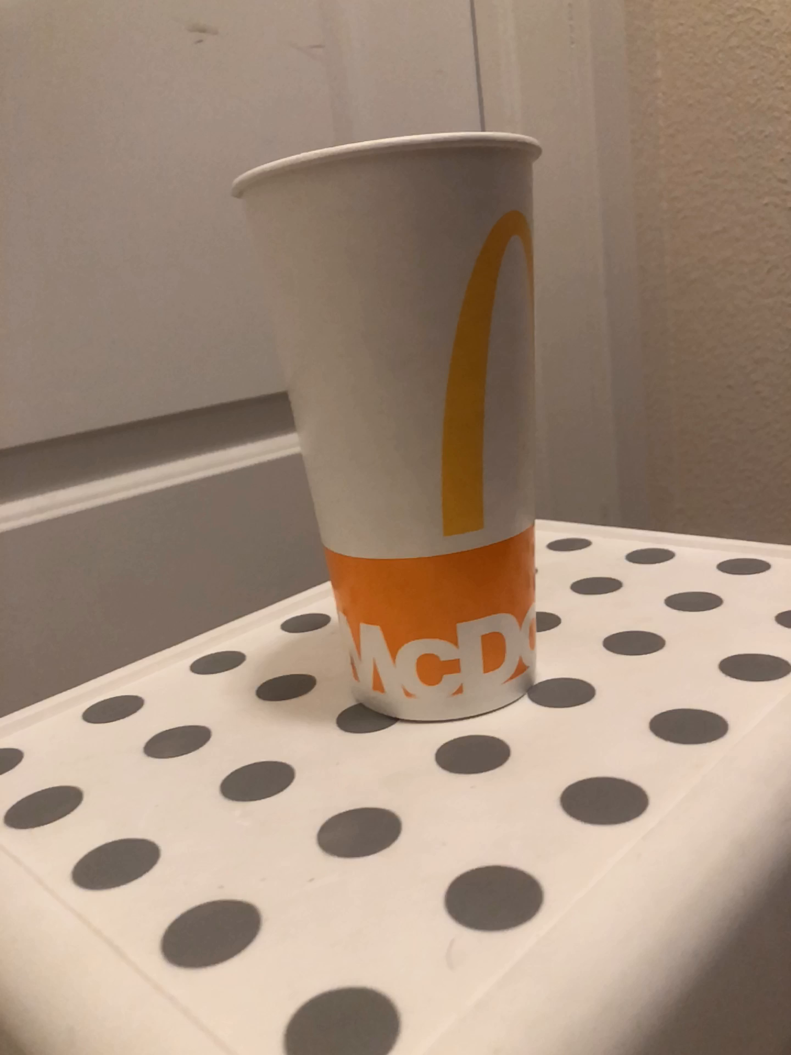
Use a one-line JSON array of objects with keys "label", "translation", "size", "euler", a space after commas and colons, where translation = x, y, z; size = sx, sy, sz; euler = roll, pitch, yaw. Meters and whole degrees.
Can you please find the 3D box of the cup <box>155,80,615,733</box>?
[{"label": "cup", "translation": [0.006, -0.034, 0.270], "size": [0.099, 0.155, 0.100], "euler": [-6, 14, 2]}]
